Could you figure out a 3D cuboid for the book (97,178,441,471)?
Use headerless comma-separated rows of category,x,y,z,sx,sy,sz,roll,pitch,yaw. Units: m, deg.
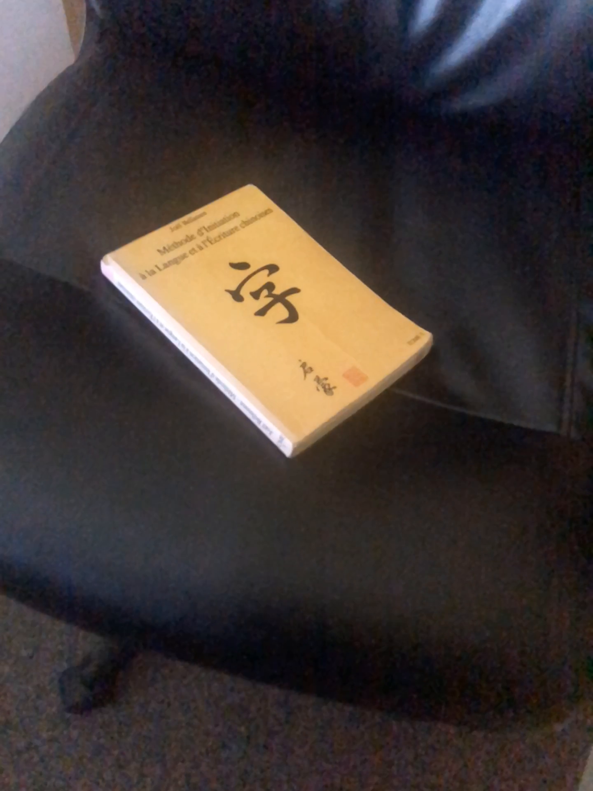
book,-0.024,-0.069,0.502,0.153,0.028,0.220,-36,66,-24
